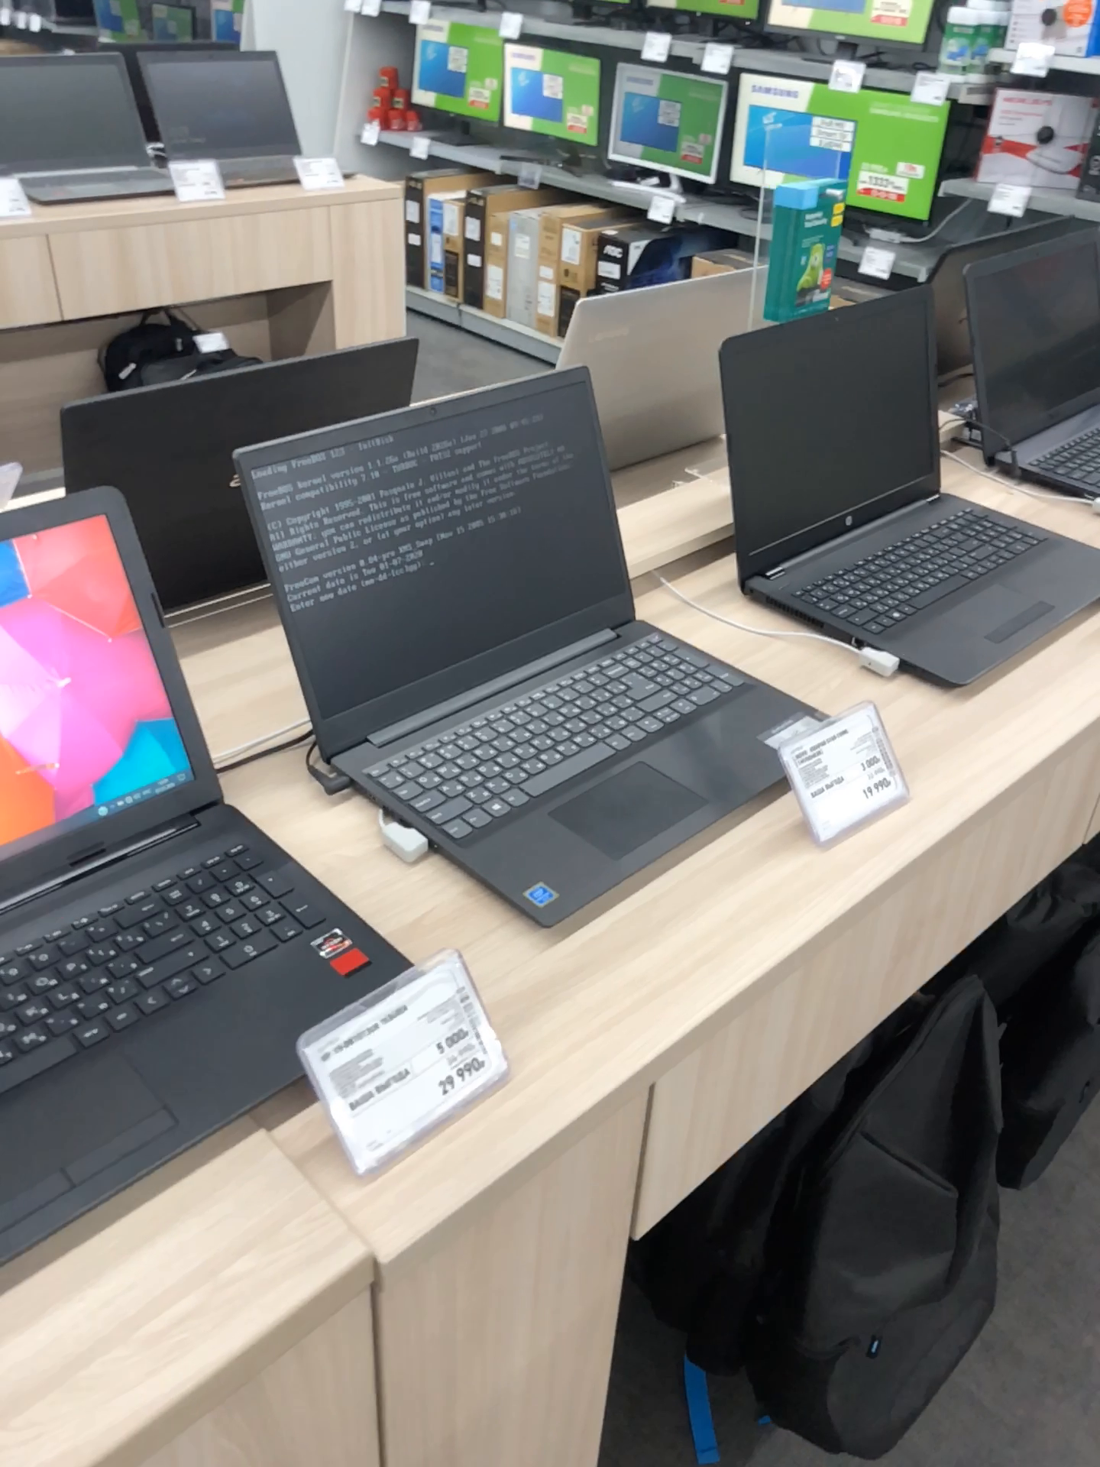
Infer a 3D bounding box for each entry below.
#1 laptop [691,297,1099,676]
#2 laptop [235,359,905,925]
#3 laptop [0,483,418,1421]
[{"bbox_3d":[0.378,-0.258,1.159,0.338,0.208,0.297,-26,45,-38],"label":"laptop"},{"bbox_3d":[0.011,-0.100,0.897,0.341,0.210,0.322,-27,45,-37],"label":"laptop"},{"bbox_3d":[-0.304,0.057,0.630,0.352,0.202,0.321,-26,44,-37],"label":"laptop"}]
